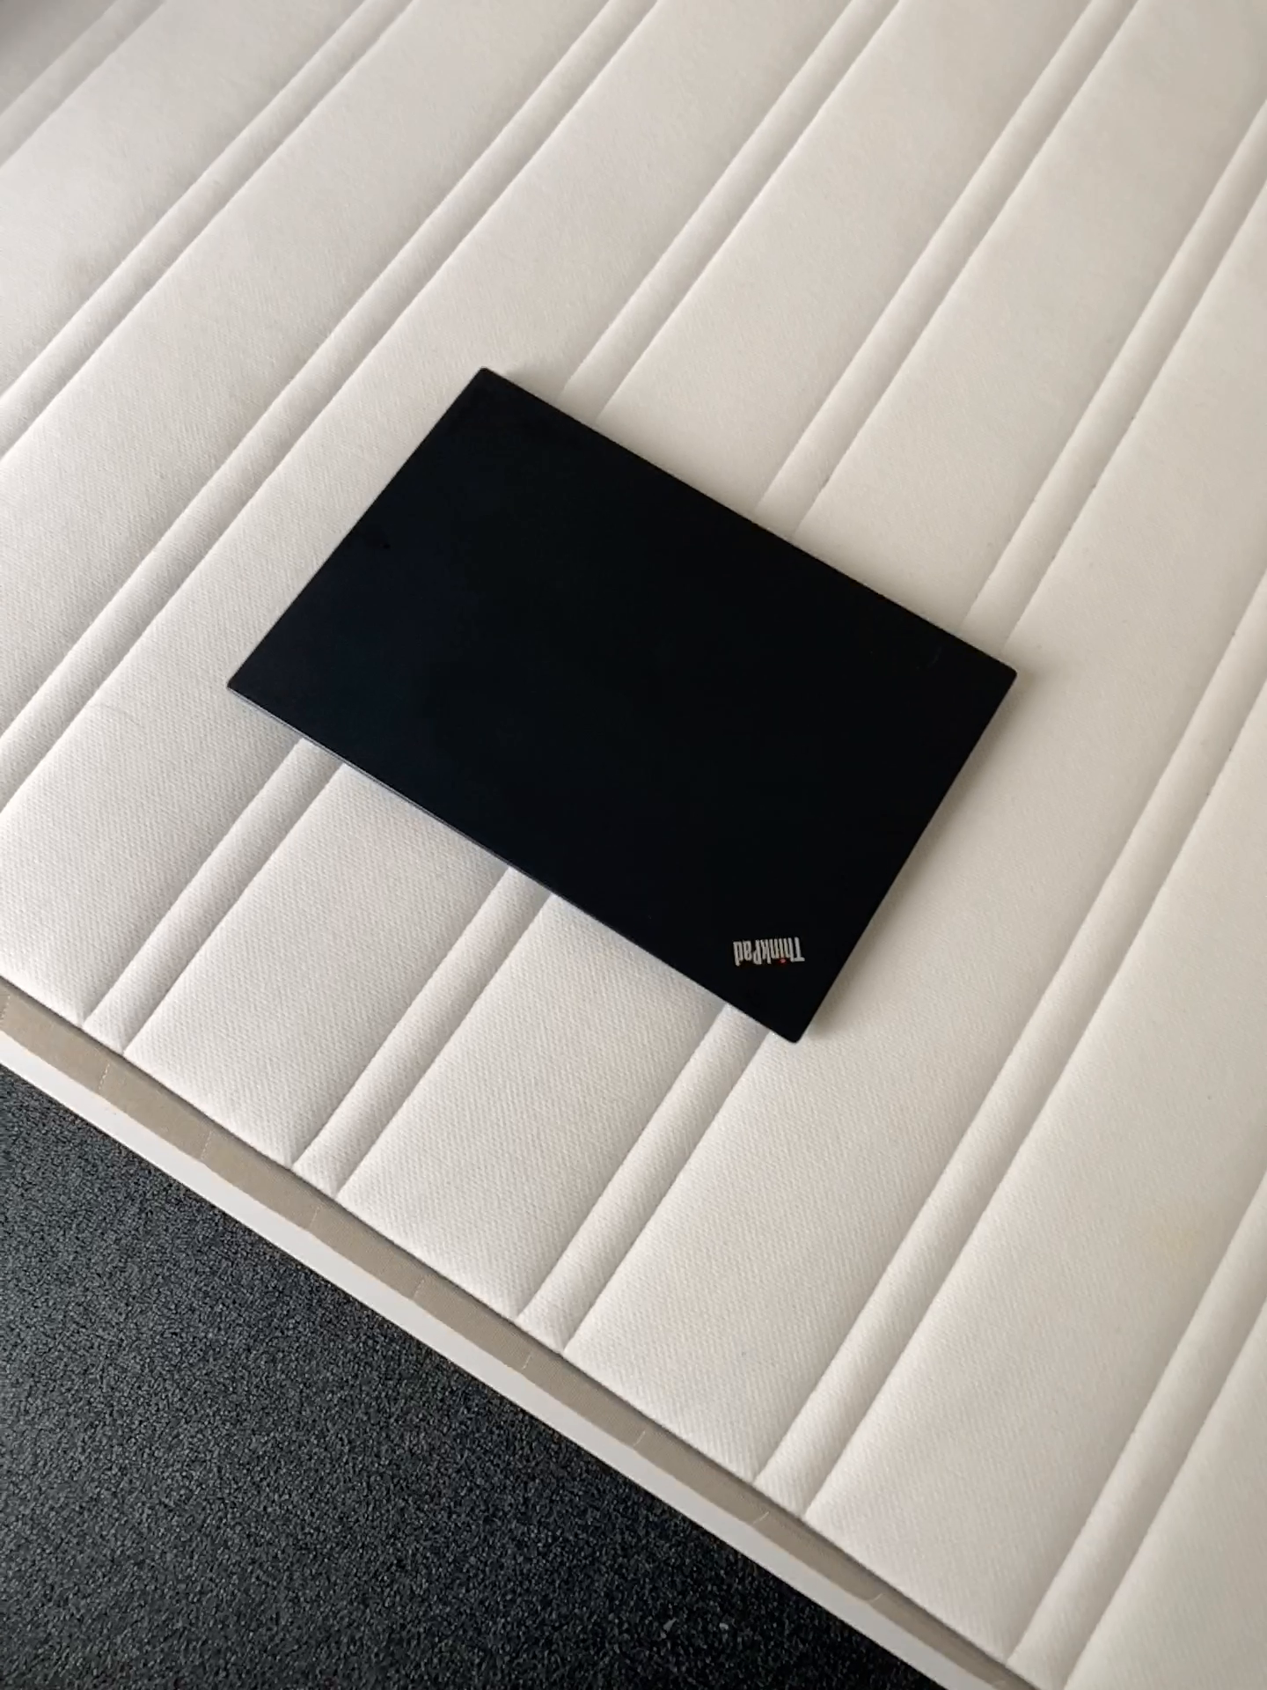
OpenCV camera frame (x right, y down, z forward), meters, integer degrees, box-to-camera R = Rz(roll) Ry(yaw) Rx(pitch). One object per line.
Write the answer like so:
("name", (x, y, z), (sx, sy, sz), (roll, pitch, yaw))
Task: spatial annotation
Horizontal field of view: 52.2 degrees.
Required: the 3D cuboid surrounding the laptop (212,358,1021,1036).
("laptop", (-0.004, -0.087, 0.641), (0.325, 0.012, 0.226), (31, 71, 7))
